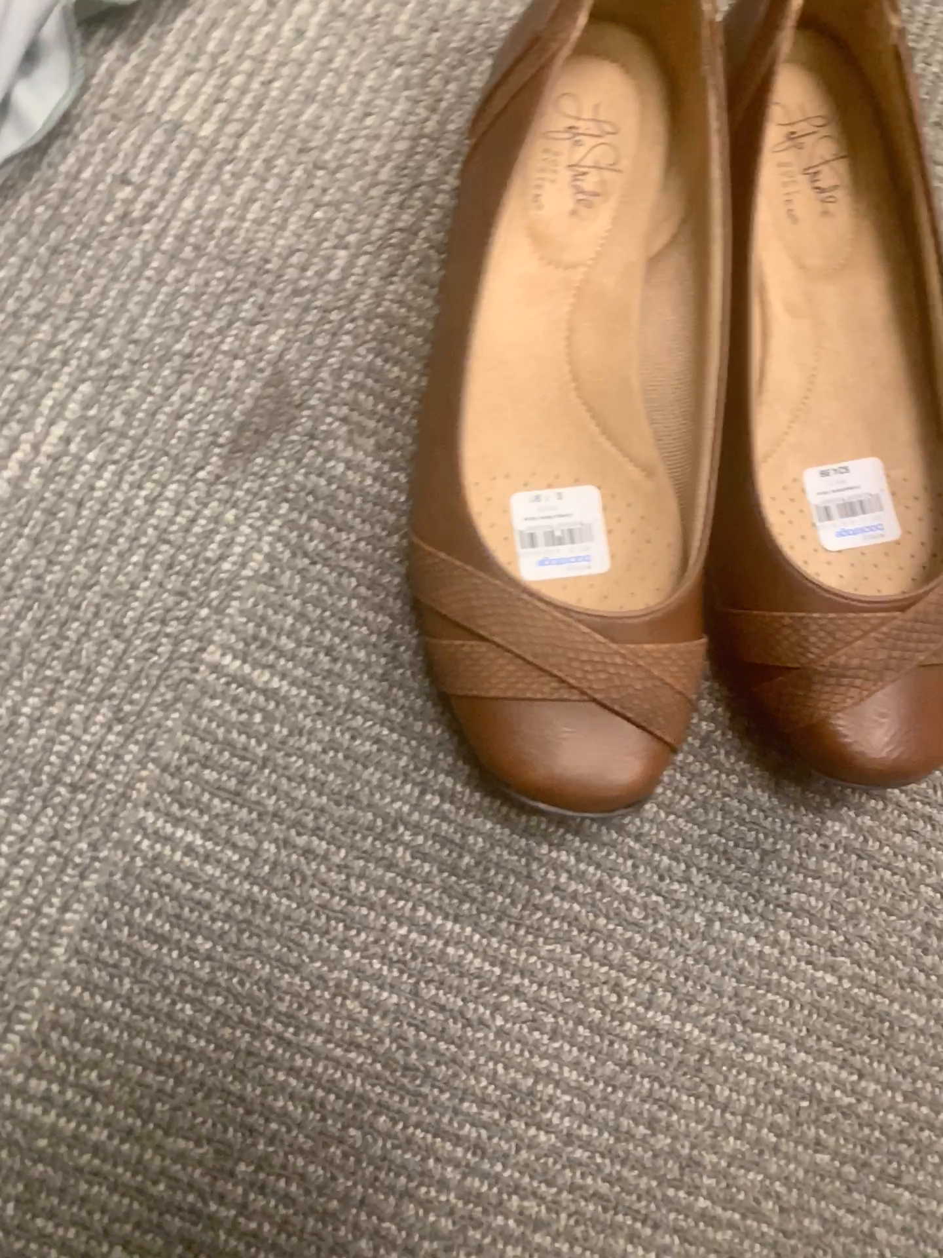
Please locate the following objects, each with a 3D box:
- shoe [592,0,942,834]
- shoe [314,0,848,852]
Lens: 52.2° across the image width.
[{"bbox_3d":[0.109,-0.086,0.282,0.099,0.084,0.271,-5,83,-9],"label":"shoe"},{"bbox_3d":[0.027,-0.085,0.264,0.099,0.084,0.269,8,82,-7],"label":"shoe"}]
